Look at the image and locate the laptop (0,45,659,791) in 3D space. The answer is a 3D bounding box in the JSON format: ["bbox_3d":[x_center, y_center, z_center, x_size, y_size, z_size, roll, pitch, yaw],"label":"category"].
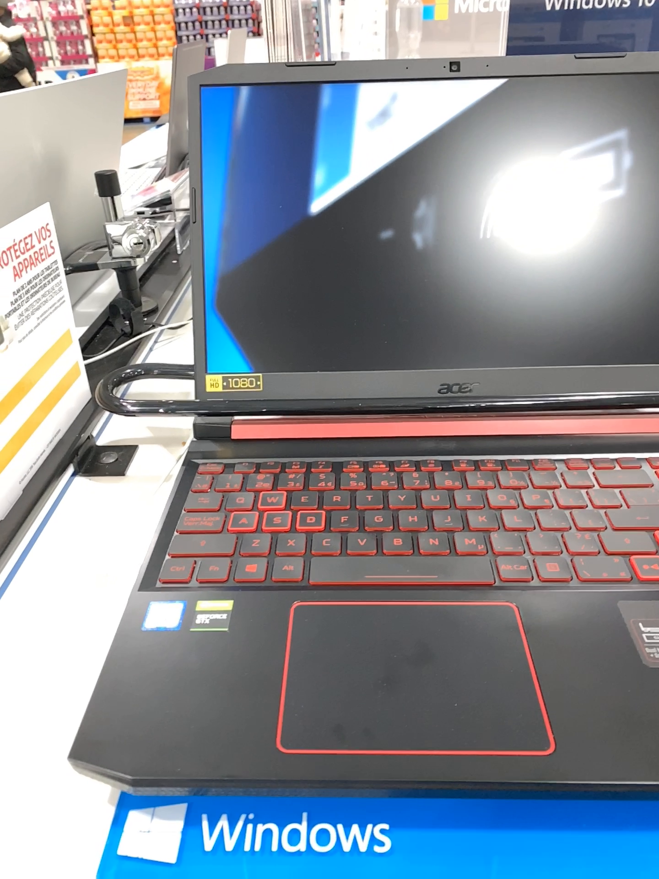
[{"bbox_3d":[0.075,-0.072,0.357,0.358,0.198,0.381,-1,33,4],"label":"laptop"}]
